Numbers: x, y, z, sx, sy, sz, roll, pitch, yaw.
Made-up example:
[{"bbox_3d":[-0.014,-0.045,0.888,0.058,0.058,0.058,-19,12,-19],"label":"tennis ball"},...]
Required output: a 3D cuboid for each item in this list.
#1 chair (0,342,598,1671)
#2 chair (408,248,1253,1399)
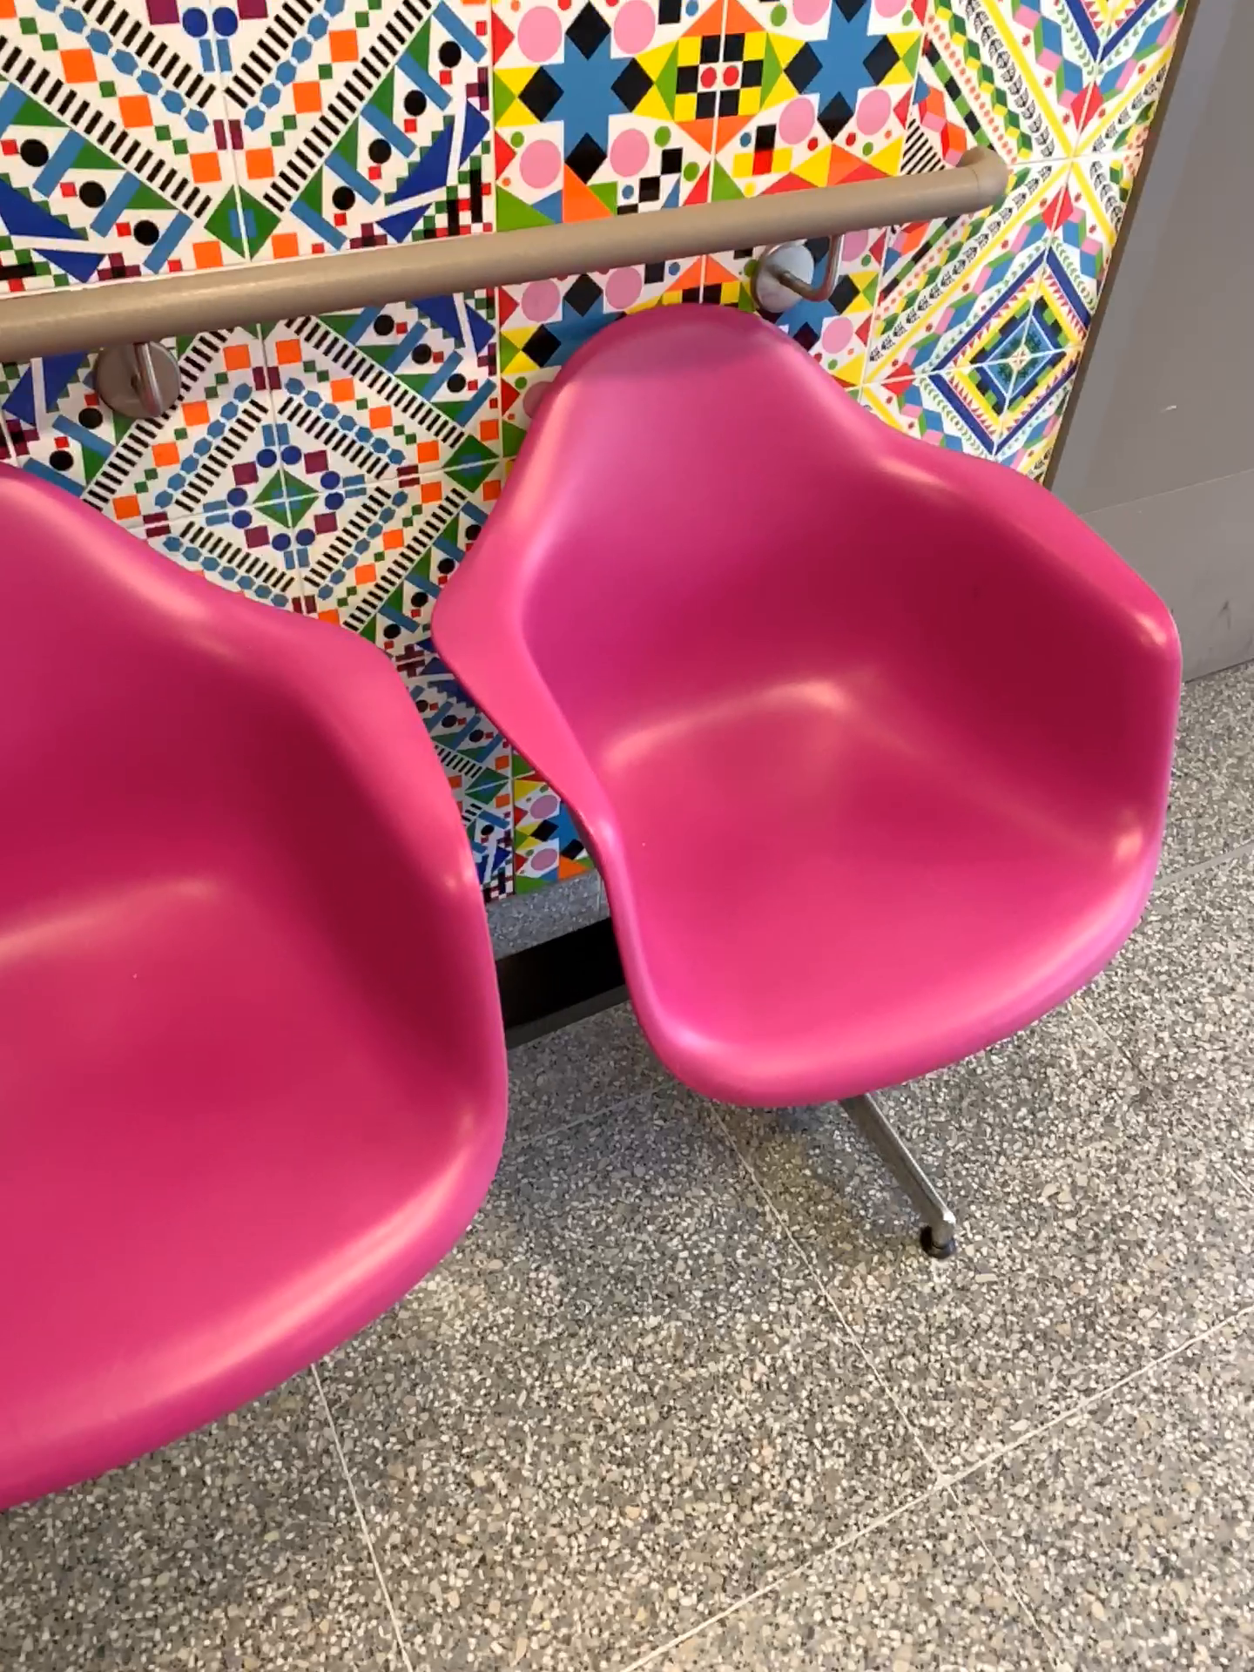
[{"bbox_3d":[-0.395,0.163,0.958,0.521,0.763,0.605,-17,48,-20],"label":"chair"},{"bbox_3d":[0.172,-0.018,1.195,0.521,0.763,0.605,-17,48,-20],"label":"chair"}]
